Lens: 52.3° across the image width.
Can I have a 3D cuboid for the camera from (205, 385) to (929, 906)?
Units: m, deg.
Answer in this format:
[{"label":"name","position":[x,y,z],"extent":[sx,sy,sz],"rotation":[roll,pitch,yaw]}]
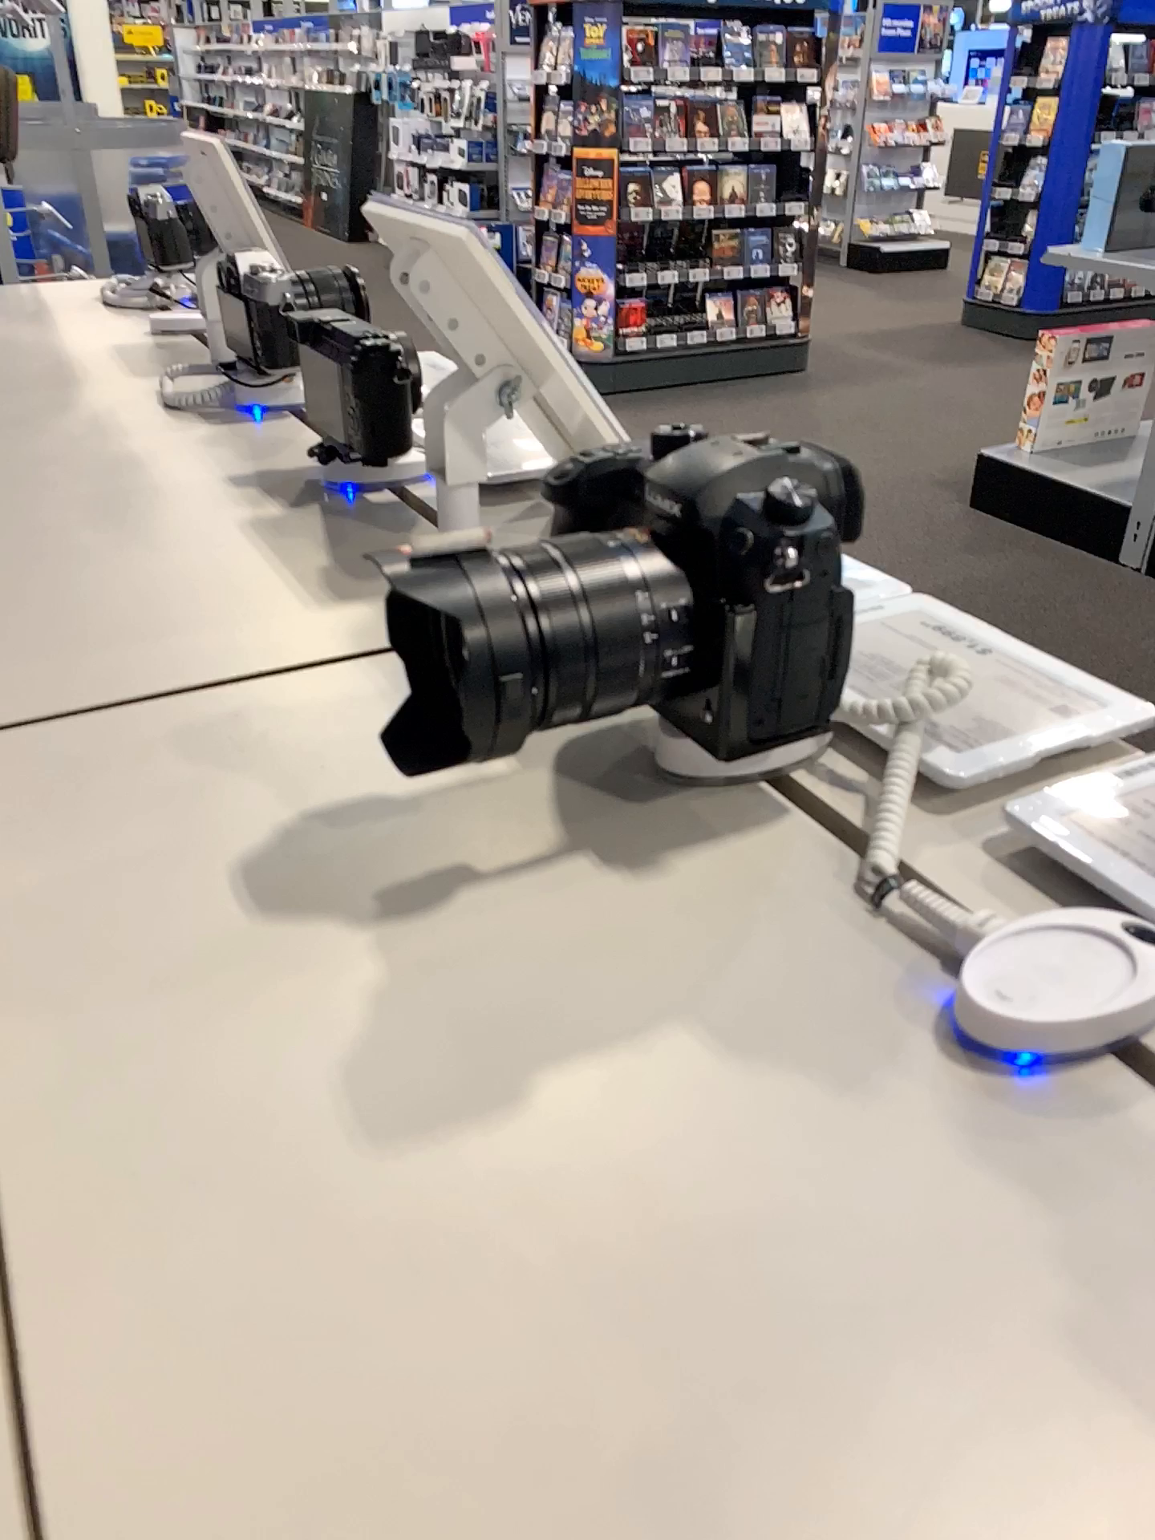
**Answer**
[{"label":"camera","position":[-0.006,-0.060,0.420],"extent":[0.200,0.099,0.141],"rotation":[-17,35,-26]}]
